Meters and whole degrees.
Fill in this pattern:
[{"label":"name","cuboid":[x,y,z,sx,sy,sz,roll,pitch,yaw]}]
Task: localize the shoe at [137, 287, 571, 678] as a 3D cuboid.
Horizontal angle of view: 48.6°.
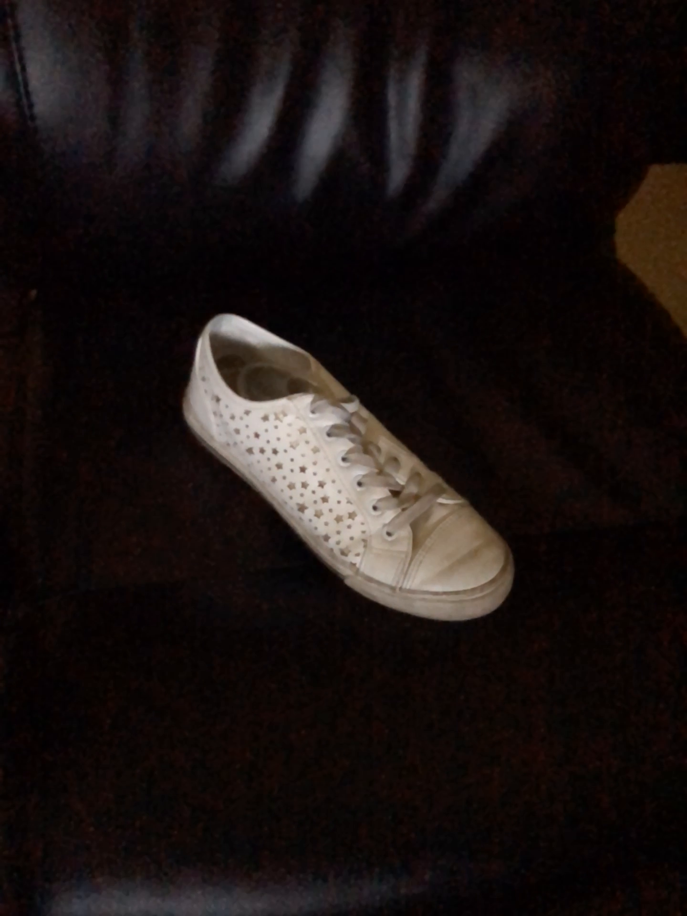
[{"label":"shoe","cuboid":[-0.003,0.005,0.498,0.260,0.099,0.101,34,56,24]}]
